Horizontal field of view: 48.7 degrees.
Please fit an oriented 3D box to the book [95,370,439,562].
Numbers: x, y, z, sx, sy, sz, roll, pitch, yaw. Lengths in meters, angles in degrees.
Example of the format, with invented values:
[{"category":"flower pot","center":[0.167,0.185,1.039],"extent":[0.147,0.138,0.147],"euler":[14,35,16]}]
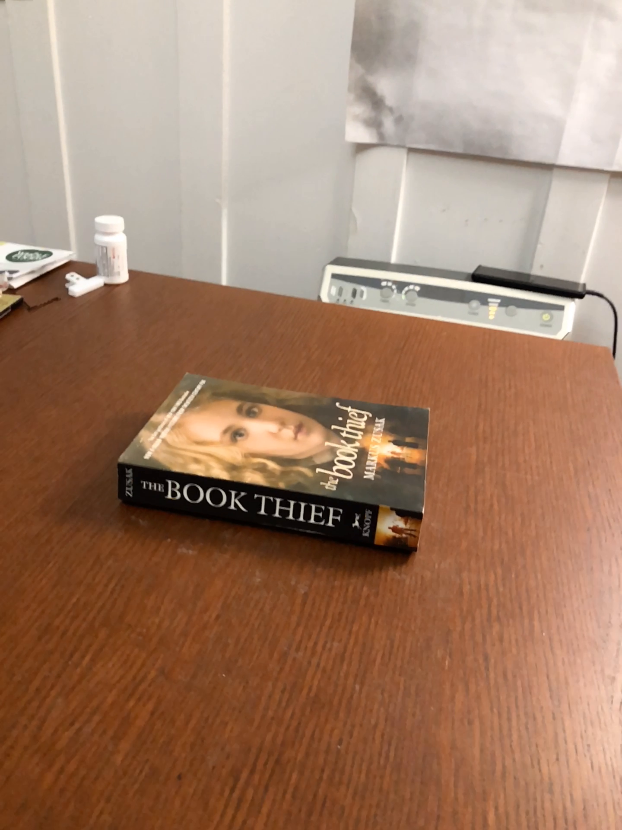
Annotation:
[{"category":"book","center":[-0.020,0.027,0.505],"extent":[0.220,0.030,0.151],"euler":[9,29,7]}]
